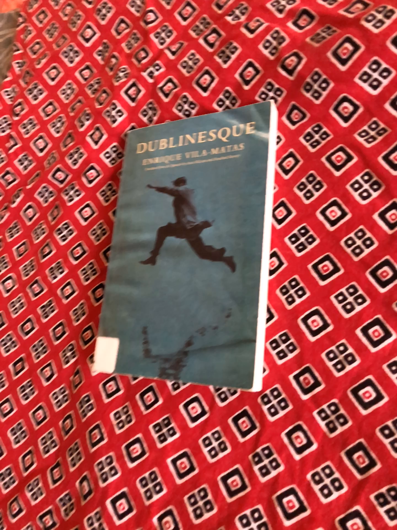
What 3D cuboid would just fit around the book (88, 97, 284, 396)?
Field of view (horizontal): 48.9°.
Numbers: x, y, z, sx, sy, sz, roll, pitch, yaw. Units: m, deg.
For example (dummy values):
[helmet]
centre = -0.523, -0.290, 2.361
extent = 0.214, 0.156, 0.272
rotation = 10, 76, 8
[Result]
[book]
centre = -0.011, -0.016, 0.329
extent = 0.138, 0.020, 0.203
rotation = -1, 77, 30
